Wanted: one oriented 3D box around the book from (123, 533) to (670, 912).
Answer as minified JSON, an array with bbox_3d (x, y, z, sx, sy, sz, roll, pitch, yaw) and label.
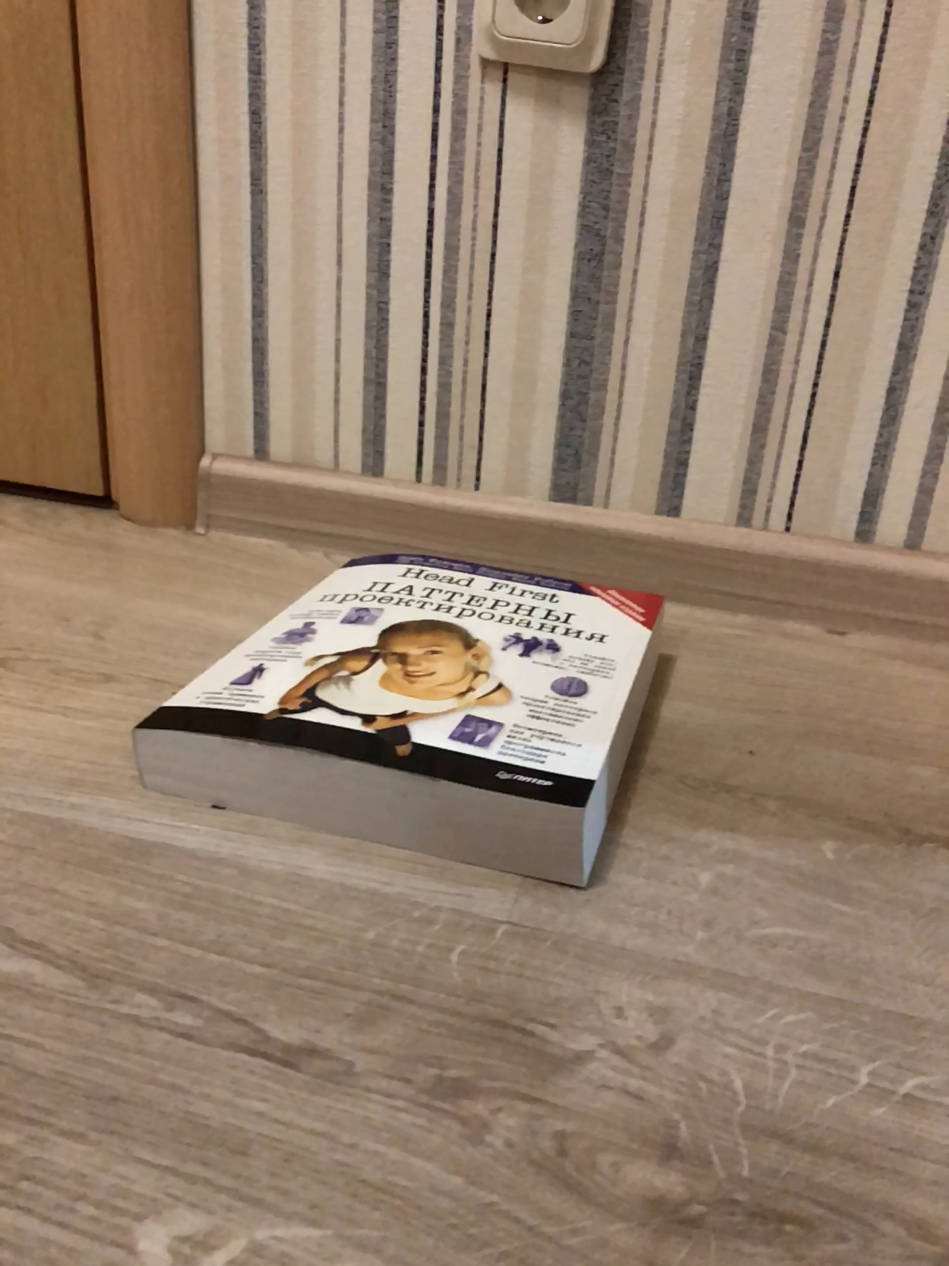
[{"bbox_3d":[-0.020,0.024,0.539,0.206,0.049,0.241,11,26,13],"label":"book"}]
